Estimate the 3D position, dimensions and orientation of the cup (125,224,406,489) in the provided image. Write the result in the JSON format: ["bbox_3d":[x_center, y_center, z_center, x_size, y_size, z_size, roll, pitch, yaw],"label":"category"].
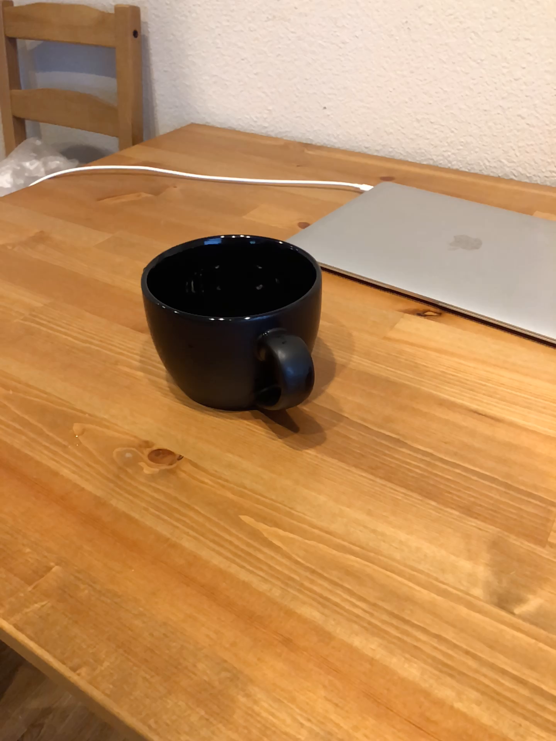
[{"bbox_3d":[-0.015,-0.022,0.417,0.120,0.080,0.161,-18,39,-22],"label":"cup"}]
